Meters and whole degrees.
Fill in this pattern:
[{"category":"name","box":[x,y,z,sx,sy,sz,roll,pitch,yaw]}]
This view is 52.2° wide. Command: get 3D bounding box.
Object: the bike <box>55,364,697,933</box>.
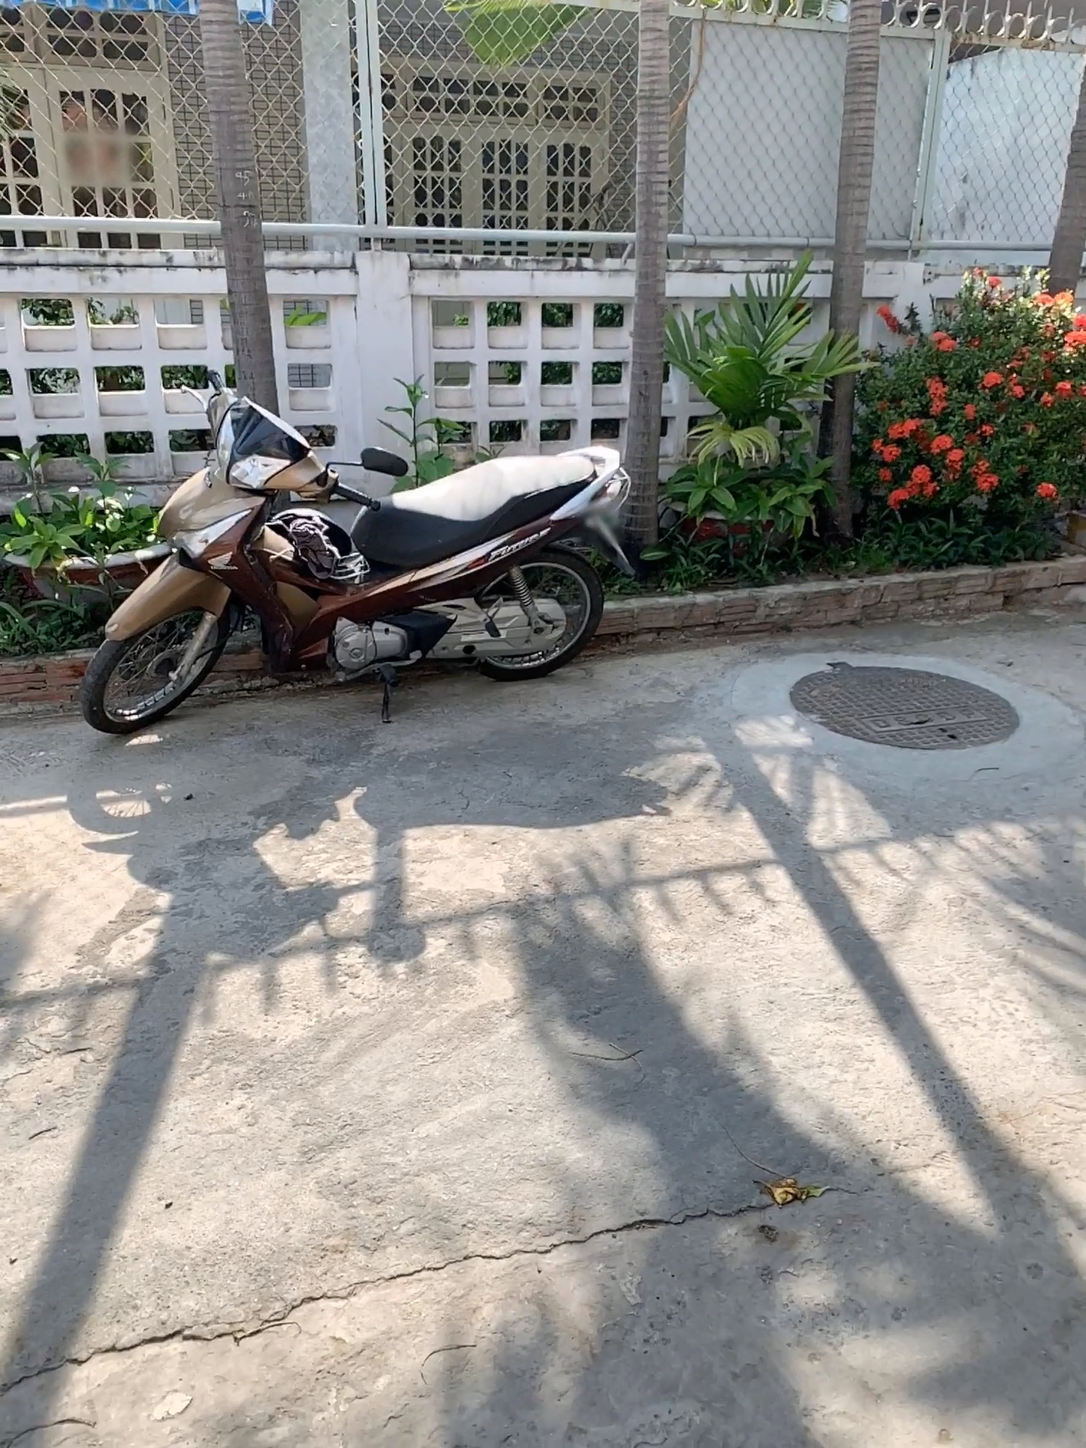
[{"category":"bike","box":[-0.456,-0.382,3.678,1.976,1.441,0.614,-13,25,-30]}]
